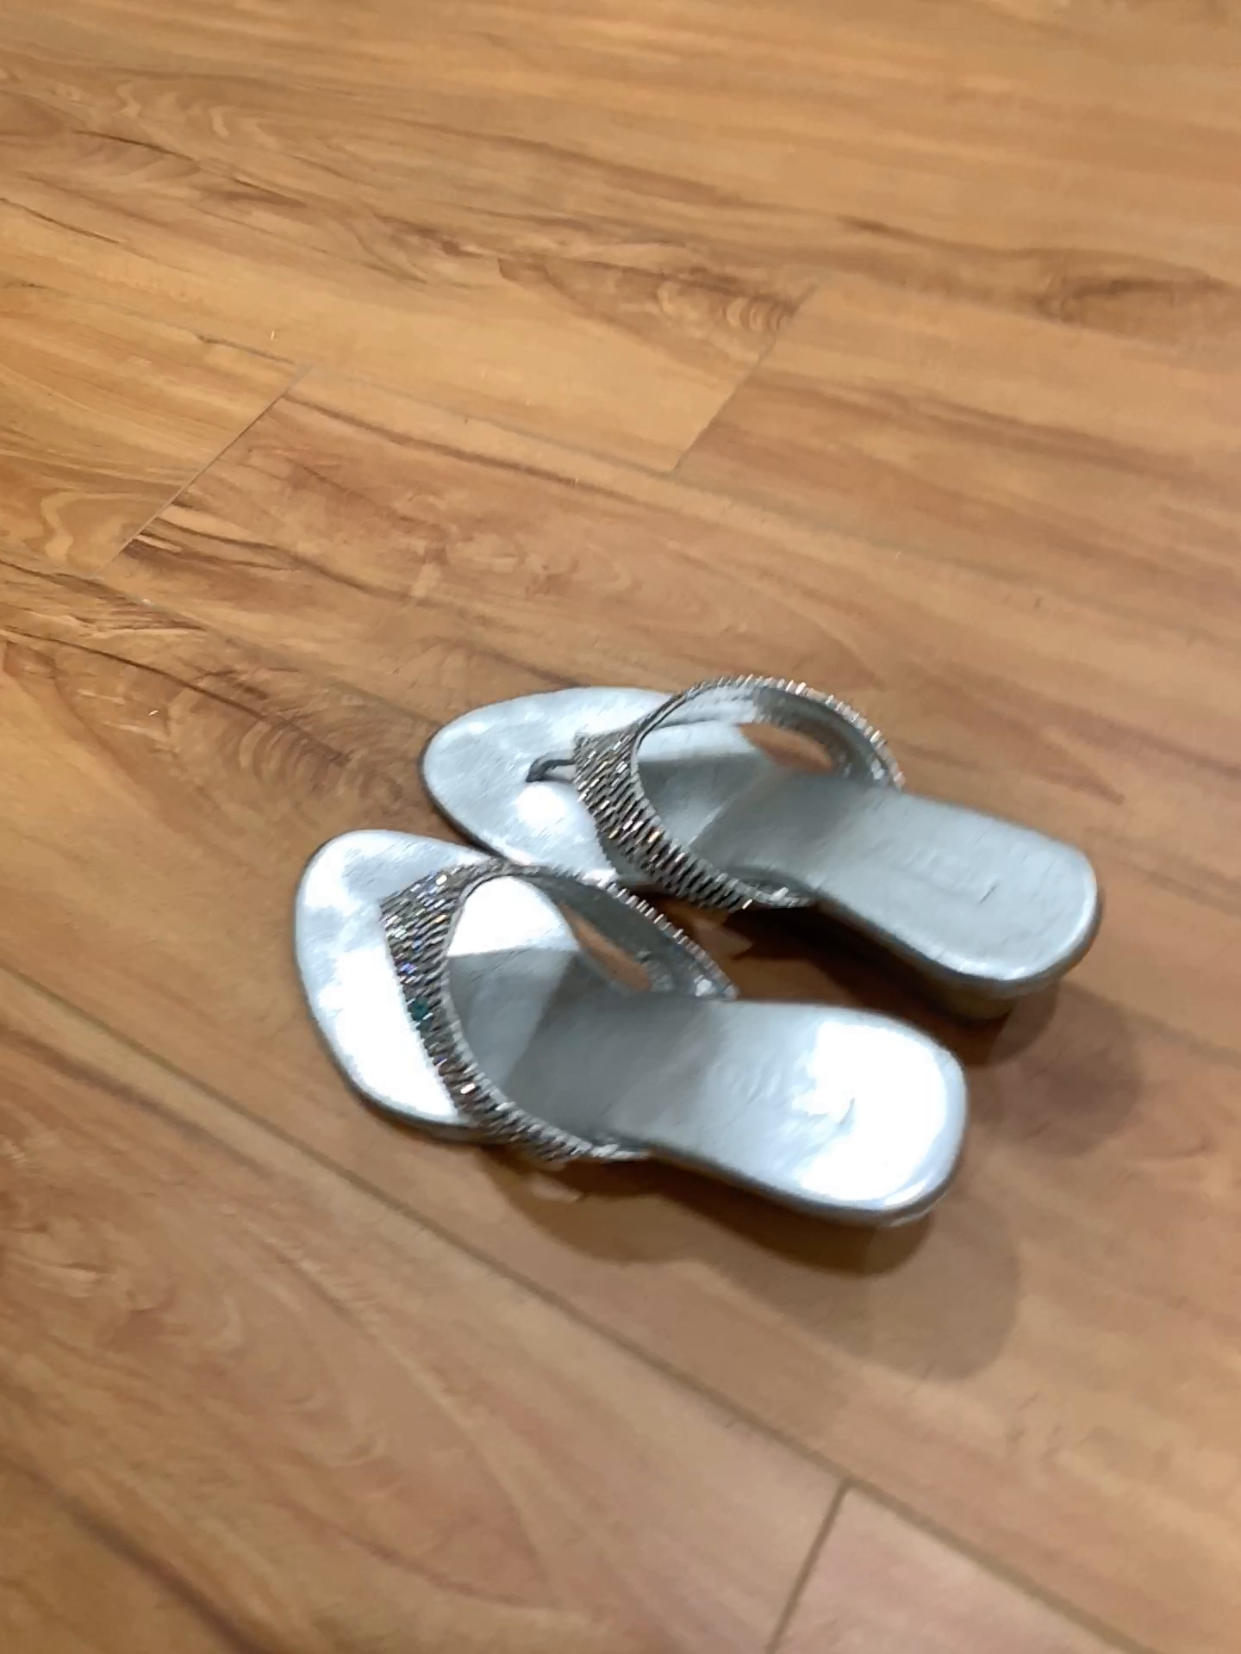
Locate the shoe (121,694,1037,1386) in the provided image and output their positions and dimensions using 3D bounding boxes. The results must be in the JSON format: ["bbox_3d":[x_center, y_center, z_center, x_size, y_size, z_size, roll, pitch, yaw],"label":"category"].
[{"bbox_3d":[-0.013,0.053,0.366,0.228,0.073,0.095,21,61,21],"label":"shoe"}]

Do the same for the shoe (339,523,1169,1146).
[{"bbox_3d":[0.034,-0.006,0.398,0.228,0.073,0.085,26,63,24],"label":"shoe"}]
